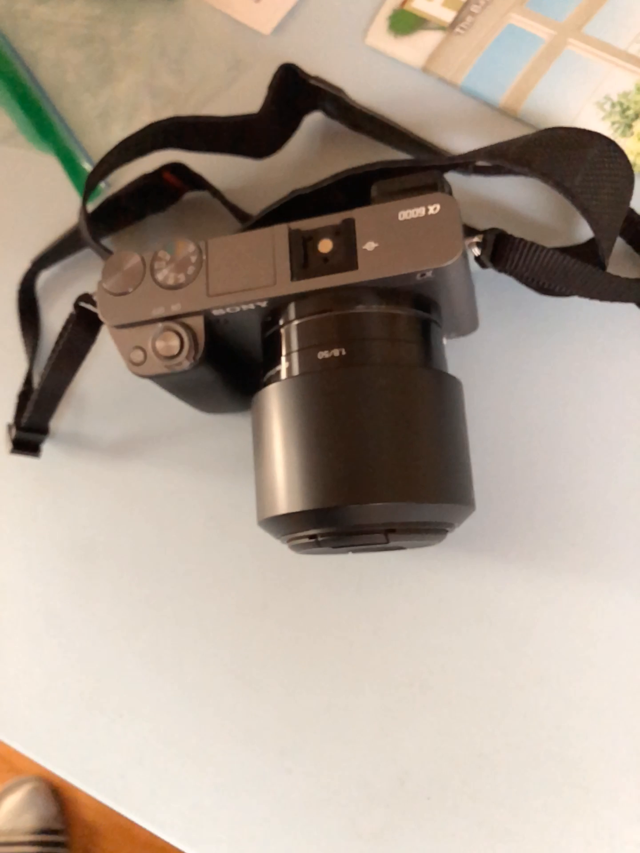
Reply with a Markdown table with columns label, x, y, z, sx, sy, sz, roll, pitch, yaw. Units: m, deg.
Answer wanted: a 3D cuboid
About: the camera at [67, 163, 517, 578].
| label | x | y | z | sx | sy | sz | roll | pitch | yaw |
| --- | --- | --- | --- | --- | --- | --- | --- | --- | --- |
| camera | -0.007 | -0.008 | 0.244 | 0.130 | 0.070 | 0.110 | -7 | 77 | 15 |
